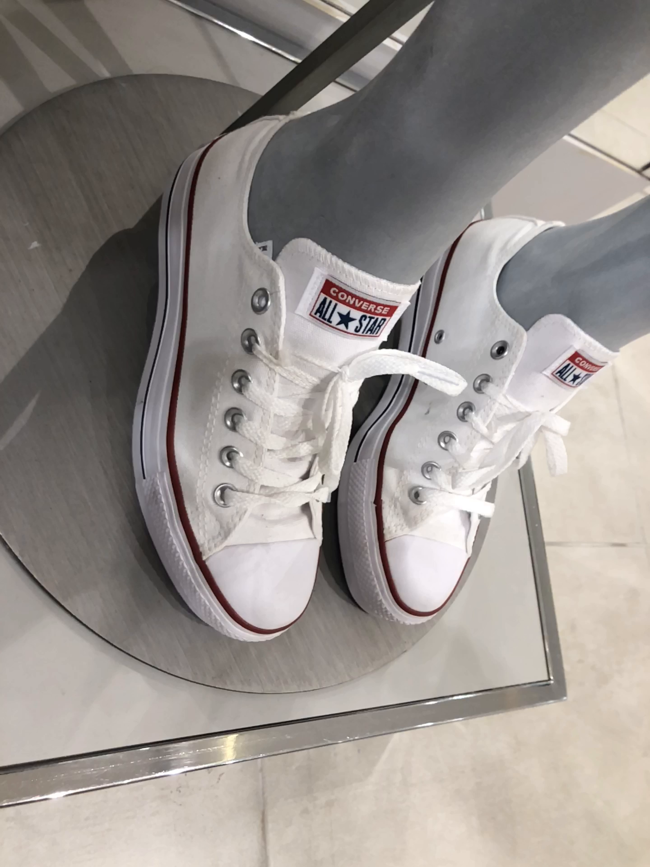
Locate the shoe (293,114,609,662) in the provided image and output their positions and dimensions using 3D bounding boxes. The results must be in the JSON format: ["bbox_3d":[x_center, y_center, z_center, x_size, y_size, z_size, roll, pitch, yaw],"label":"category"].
[{"bbox_3d":[0.078,-0.021,0.432,0.110,0.090,0.280,17,80,-32],"label":"shoe"}]

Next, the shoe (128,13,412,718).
[{"bbox_3d":[-0.027,-0.026,0.342,0.101,0.089,0.270,1,89,-37],"label":"shoe"}]
